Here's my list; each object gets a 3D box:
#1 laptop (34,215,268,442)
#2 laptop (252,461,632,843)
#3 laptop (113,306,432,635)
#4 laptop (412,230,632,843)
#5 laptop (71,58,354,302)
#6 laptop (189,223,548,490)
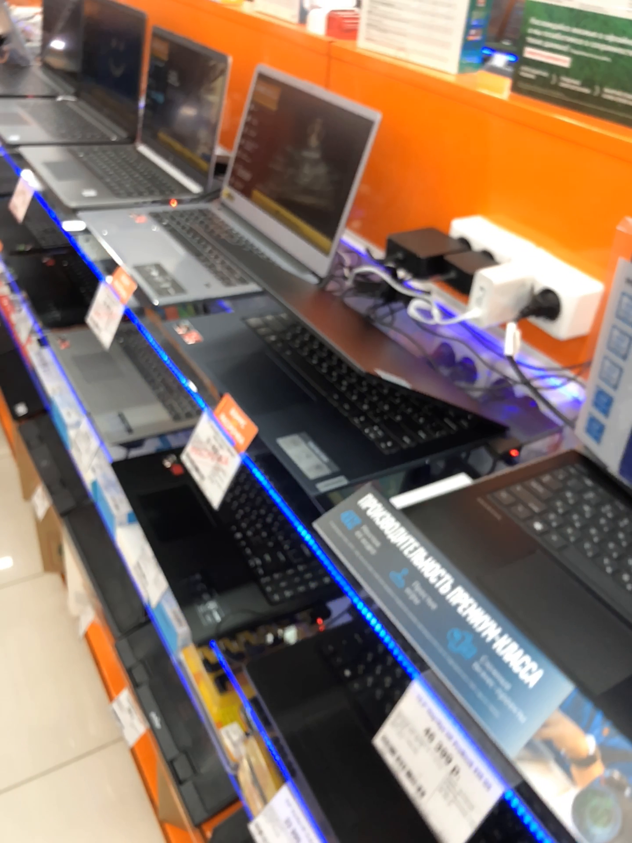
[{"bbox_3d":[-0.281,-0.172,1.174,0.235,0.207,0.349,-15,41,-29],"label":"laptop"},{"bbox_3d":[0.125,0.240,0.635,0.226,0.215,0.354,-11,37,-27],"label":"laptop"},{"bbox_3d":[-0.080,0.037,0.899,0.246,0.230,0.343,-11,37,-26],"label":"laptop"},{"bbox_3d":[0.269,0.036,0.433,0.228,0.213,0.307,-11,37,-28],"label":"laptop"},{"bbox_3d":[-0.148,-0.326,0.919,0.225,0.203,0.316,-14,39,-28],"label":"laptop"},{"bbox_3d":[0.030,-0.088,0.689,0.212,0.106,0.300,-13,37,-28],"label":"laptop"}]
